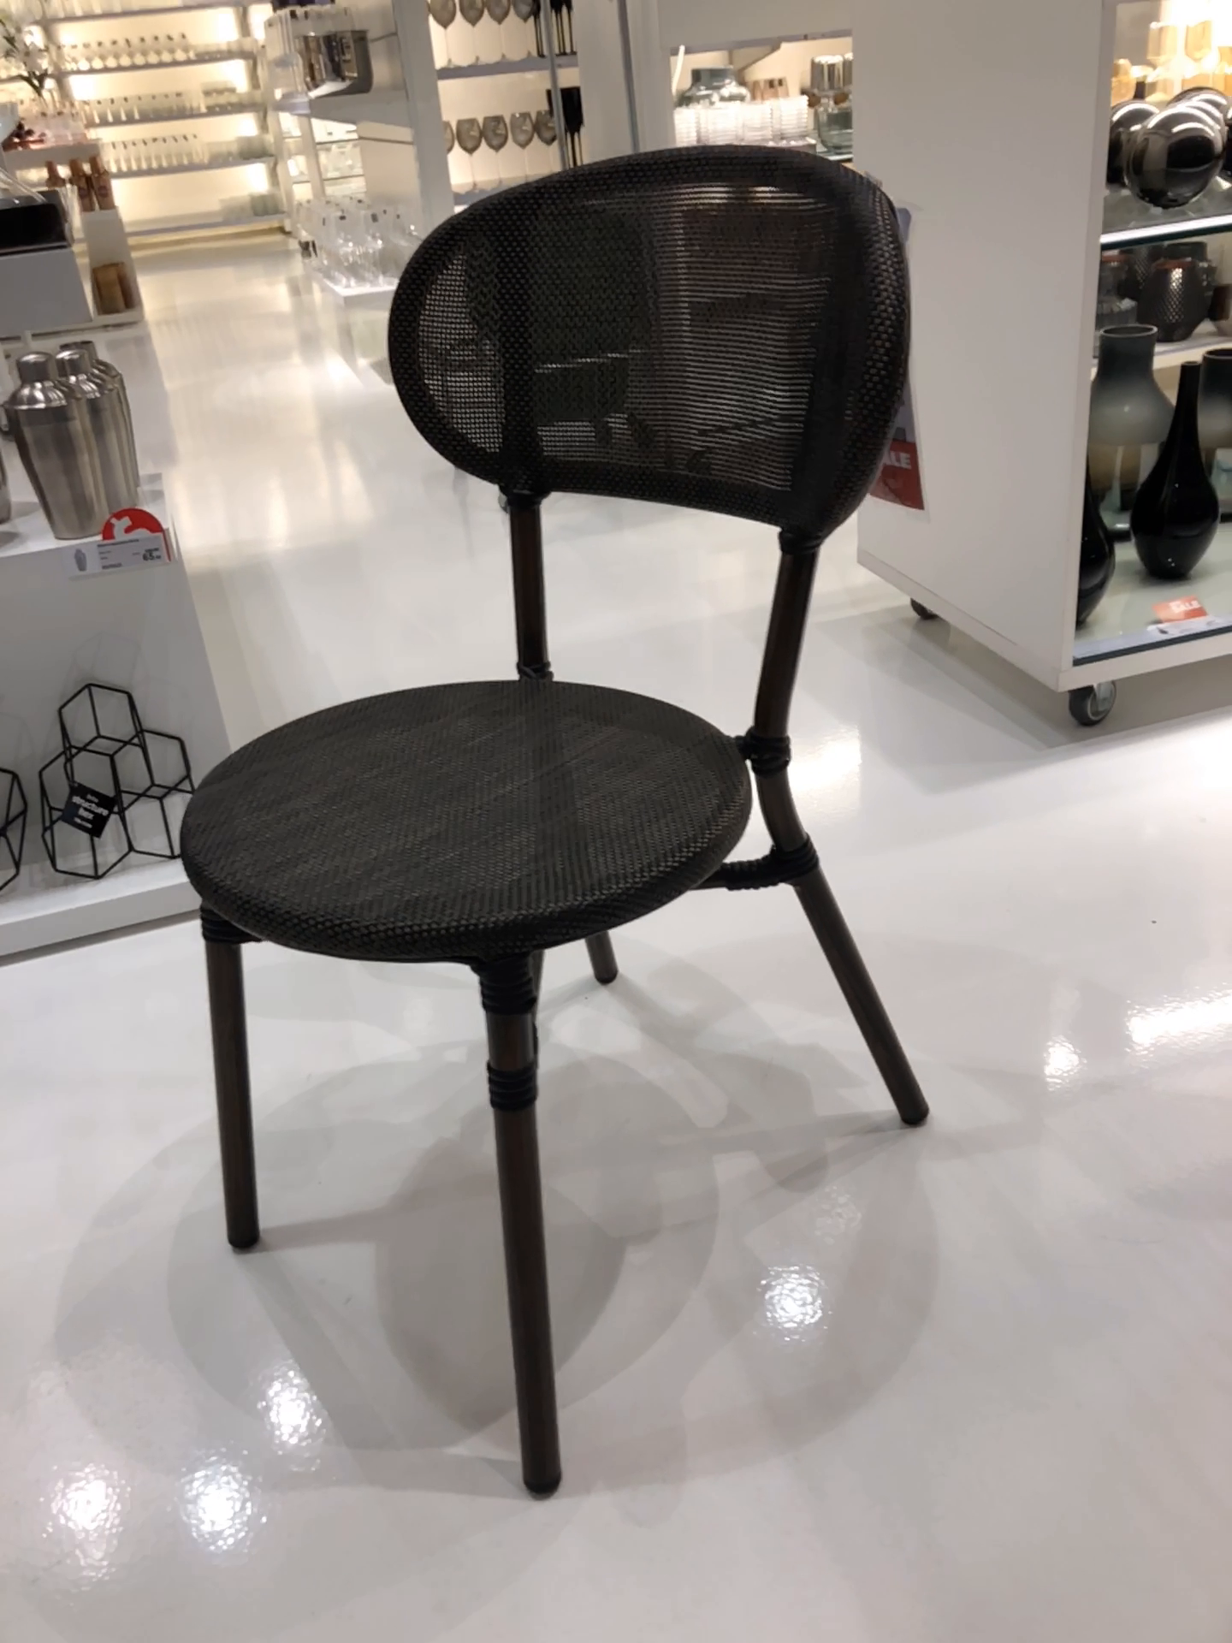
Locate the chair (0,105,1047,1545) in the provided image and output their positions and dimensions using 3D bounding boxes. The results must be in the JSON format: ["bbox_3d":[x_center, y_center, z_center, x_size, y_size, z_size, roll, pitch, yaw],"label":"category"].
[{"bbox_3d":[-0.055,-0.055,0.991,0.472,0.764,0.552,19,38,38],"label":"chair"}]
